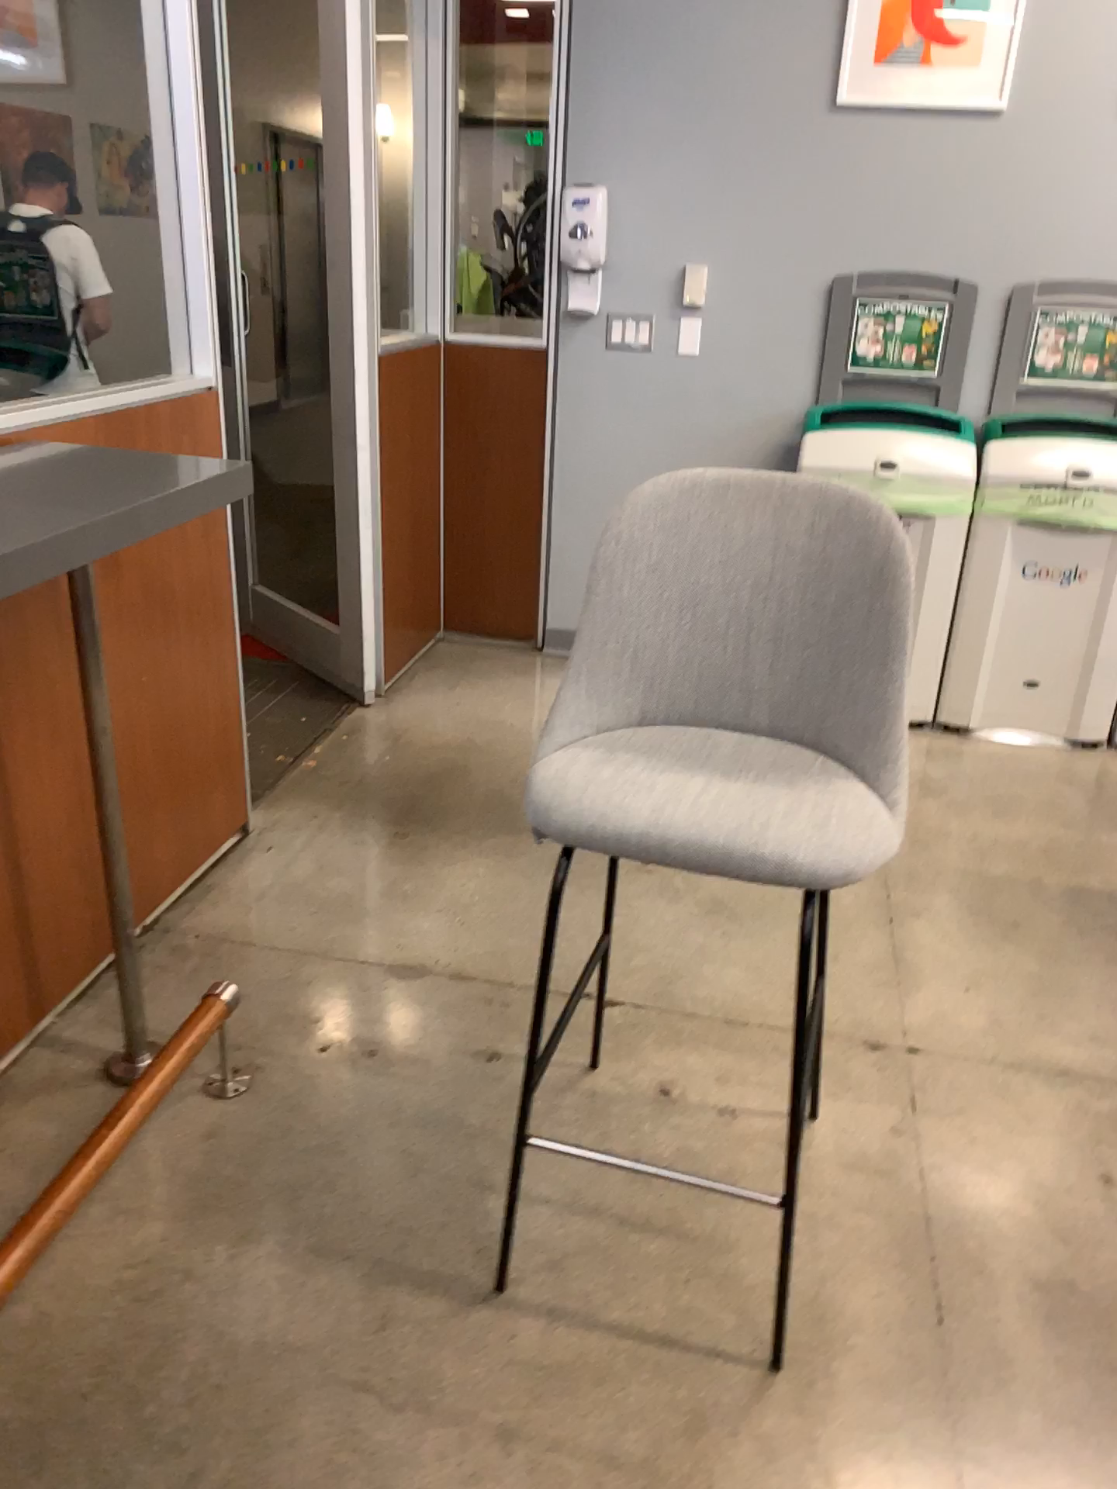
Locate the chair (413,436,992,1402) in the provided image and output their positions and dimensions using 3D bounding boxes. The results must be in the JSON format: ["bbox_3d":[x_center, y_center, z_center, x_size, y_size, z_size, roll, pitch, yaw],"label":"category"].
[{"bbox_3d":[0.210,0.170,1.721,0.590,1.094,0.814,9,23,13],"label":"chair"}]
